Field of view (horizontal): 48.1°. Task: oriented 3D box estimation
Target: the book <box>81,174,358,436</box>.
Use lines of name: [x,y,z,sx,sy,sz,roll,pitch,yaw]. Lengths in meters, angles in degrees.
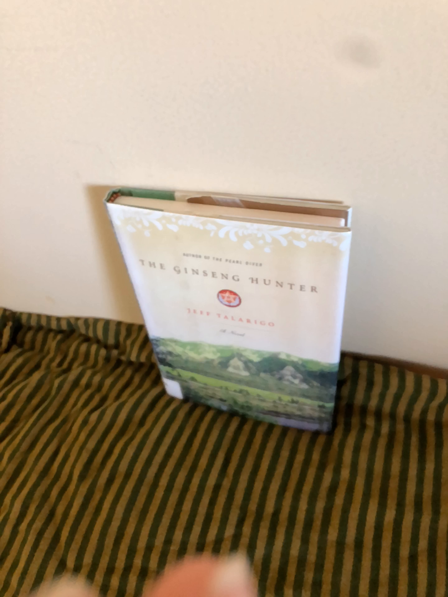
book: [0.003,0.018,0.330,0.137,0.203,0.029,9,51,13]
